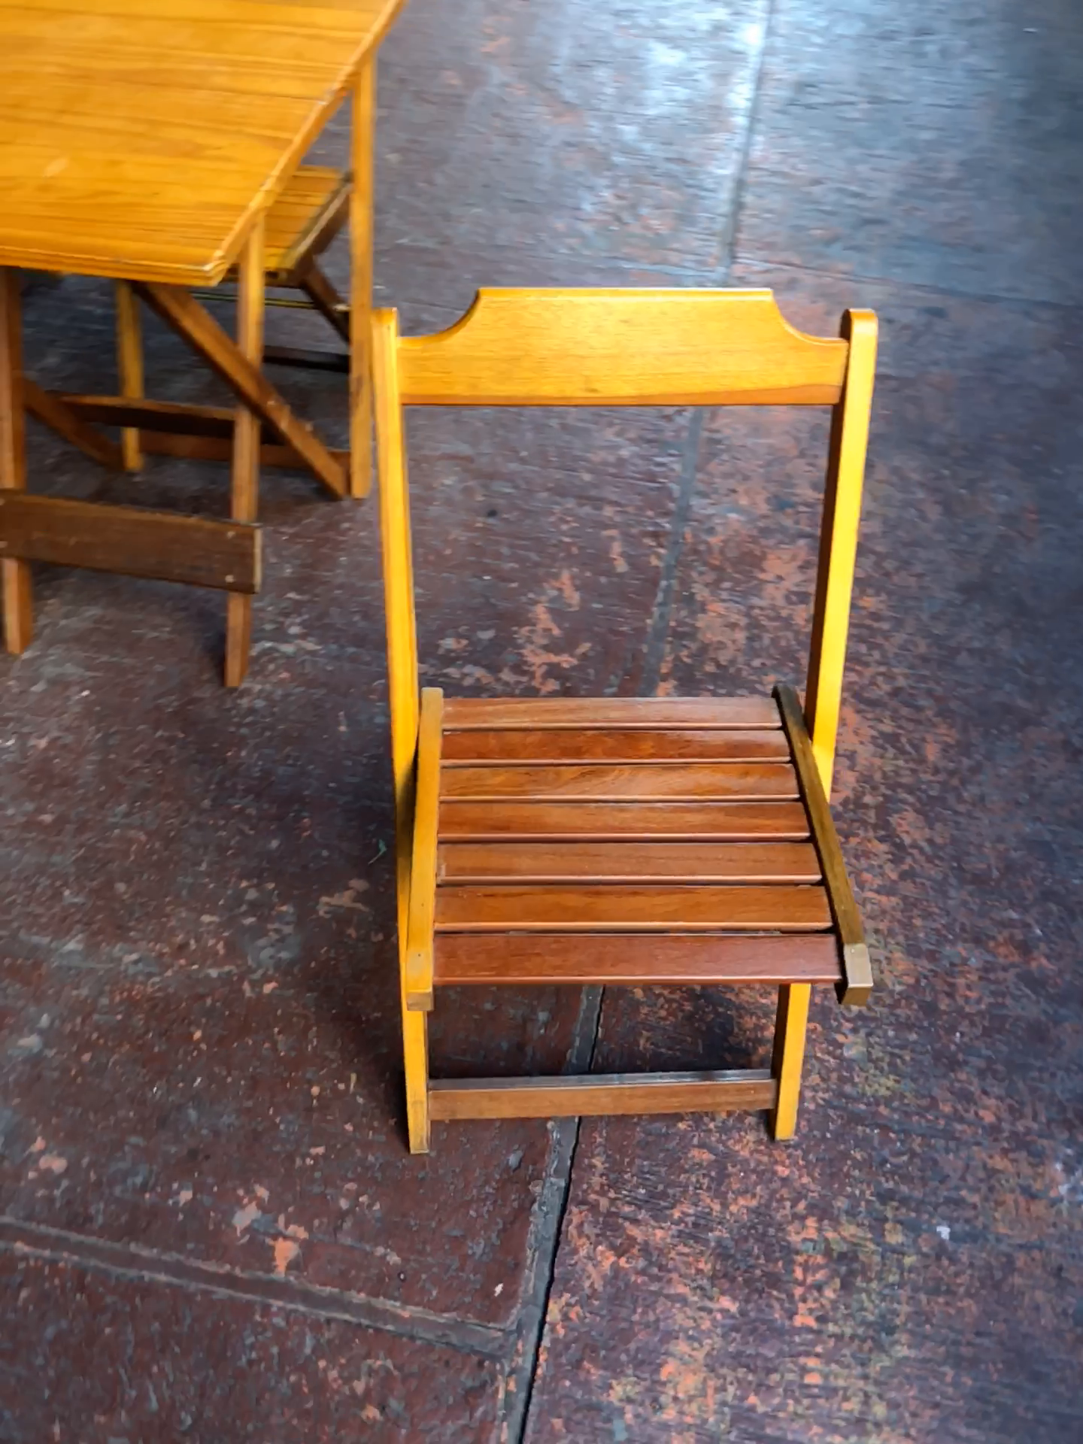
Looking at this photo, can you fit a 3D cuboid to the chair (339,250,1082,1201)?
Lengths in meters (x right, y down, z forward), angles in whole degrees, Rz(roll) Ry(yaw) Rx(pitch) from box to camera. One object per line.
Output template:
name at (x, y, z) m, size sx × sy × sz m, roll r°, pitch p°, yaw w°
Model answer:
chair at (0.089, 0.048, 1.066) m, size 0.450 × 0.736 × 0.473 m, roll -1°, pitch 49°, yaw -4°
